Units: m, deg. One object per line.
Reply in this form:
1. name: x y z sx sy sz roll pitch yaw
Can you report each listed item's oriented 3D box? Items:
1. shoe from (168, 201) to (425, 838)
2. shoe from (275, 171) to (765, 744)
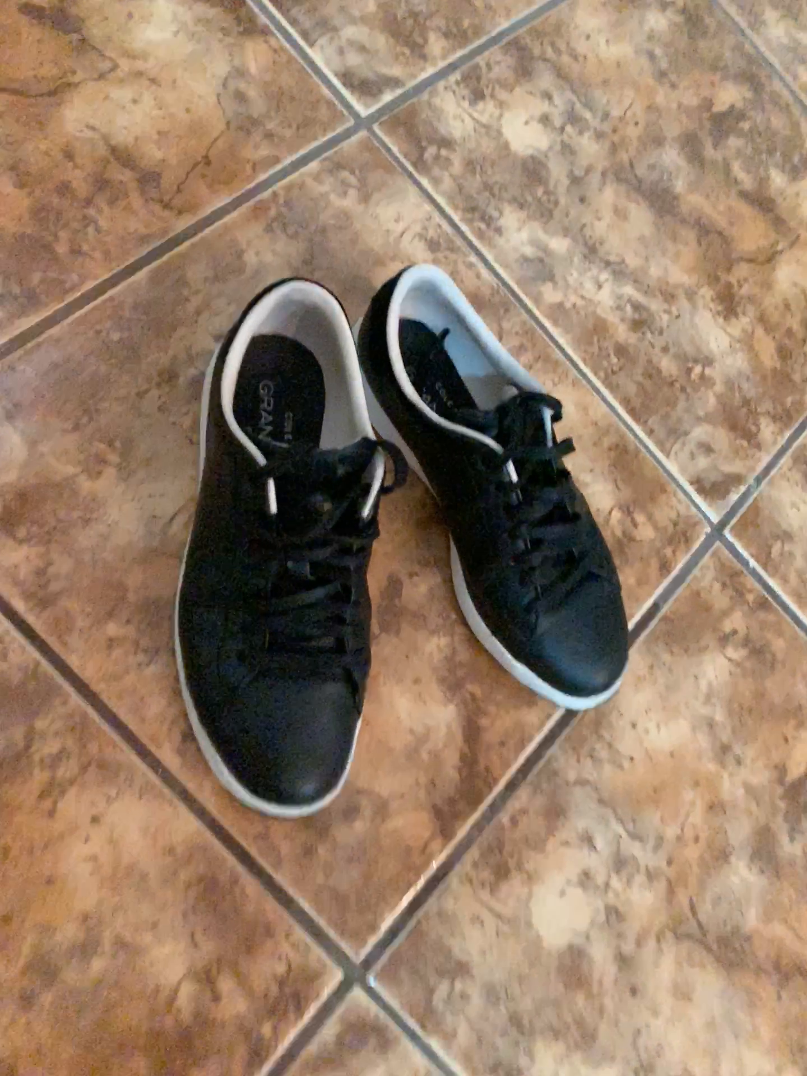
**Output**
1. shoe: -0.049 -0.005 0.371 0.087 0.093 0.255 5 73 -18
2. shoe: 0.048 -0.033 0.415 0.090 0.103 0.255 -30 87 -24
